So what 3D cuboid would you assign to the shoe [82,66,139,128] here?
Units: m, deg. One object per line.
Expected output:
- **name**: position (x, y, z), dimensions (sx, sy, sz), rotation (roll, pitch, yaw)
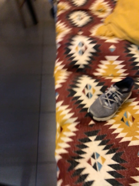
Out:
- **shoe**: position (0.156, 0.012, 0.525), dimensions (0.212, 0.074, 0.094), rotation (-33, 66, -17)
